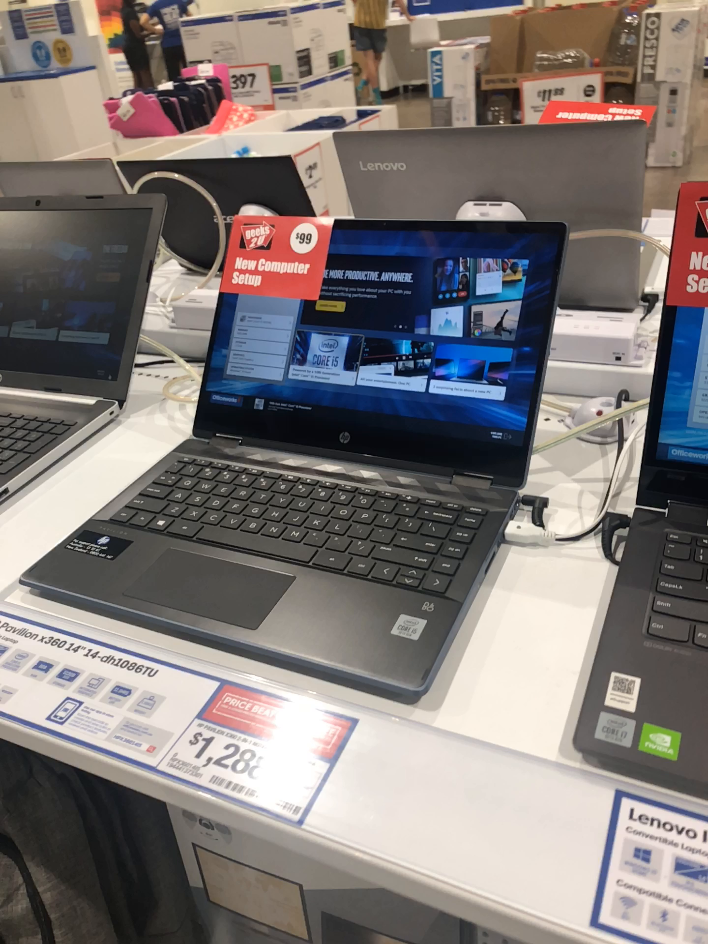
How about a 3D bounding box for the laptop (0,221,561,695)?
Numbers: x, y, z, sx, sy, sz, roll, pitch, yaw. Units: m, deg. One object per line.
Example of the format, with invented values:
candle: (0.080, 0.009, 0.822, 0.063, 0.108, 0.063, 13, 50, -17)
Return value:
laptop: (-0.045, -0.056, 0.591, 0.315, 0.165, 0.350, 9, 35, 24)
